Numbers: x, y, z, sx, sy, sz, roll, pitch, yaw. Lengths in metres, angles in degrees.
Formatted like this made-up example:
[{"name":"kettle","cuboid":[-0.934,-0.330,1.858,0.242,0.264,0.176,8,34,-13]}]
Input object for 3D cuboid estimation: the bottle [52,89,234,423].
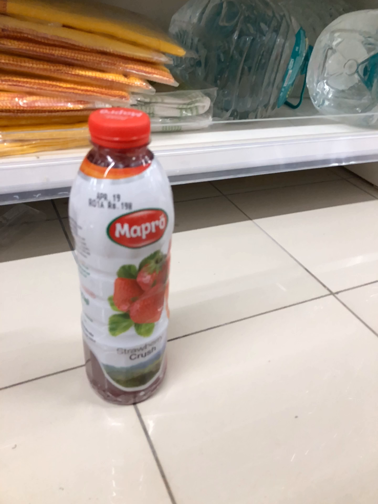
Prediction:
[{"name":"bottle","cuboid":[-0.042,0.012,0.328,0.090,0.248,0.080,-12,38,-24]}]
